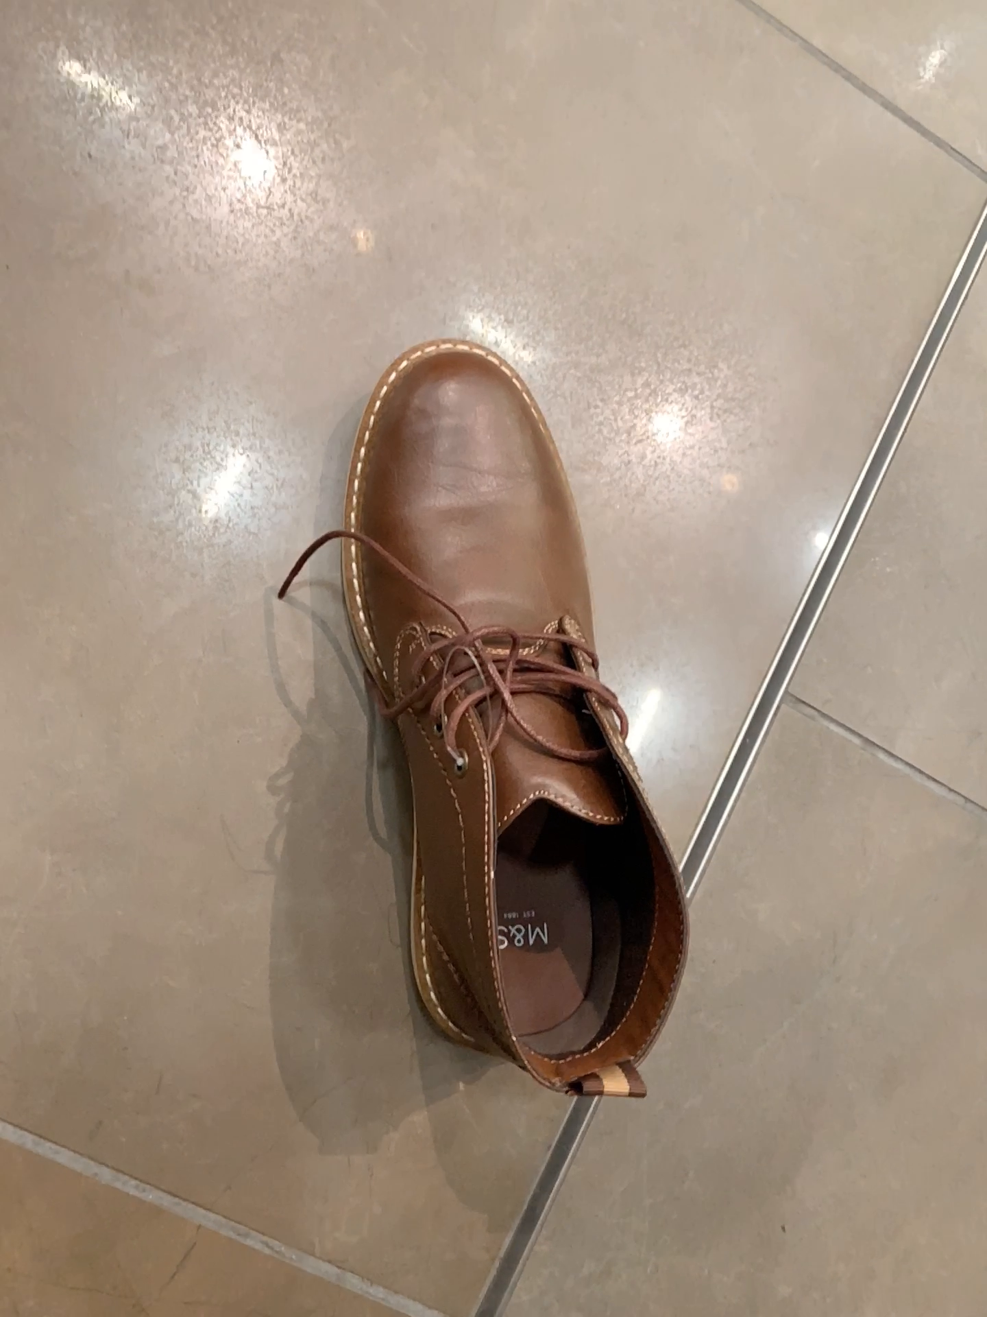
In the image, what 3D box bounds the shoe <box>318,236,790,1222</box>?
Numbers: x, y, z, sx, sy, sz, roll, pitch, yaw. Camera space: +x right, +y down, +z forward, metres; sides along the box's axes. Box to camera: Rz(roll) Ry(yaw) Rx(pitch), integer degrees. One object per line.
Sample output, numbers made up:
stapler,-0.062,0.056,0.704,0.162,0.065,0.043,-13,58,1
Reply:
shoe,0.010,0.016,0.373,0.107,0.120,0.295,-6,86,-14
